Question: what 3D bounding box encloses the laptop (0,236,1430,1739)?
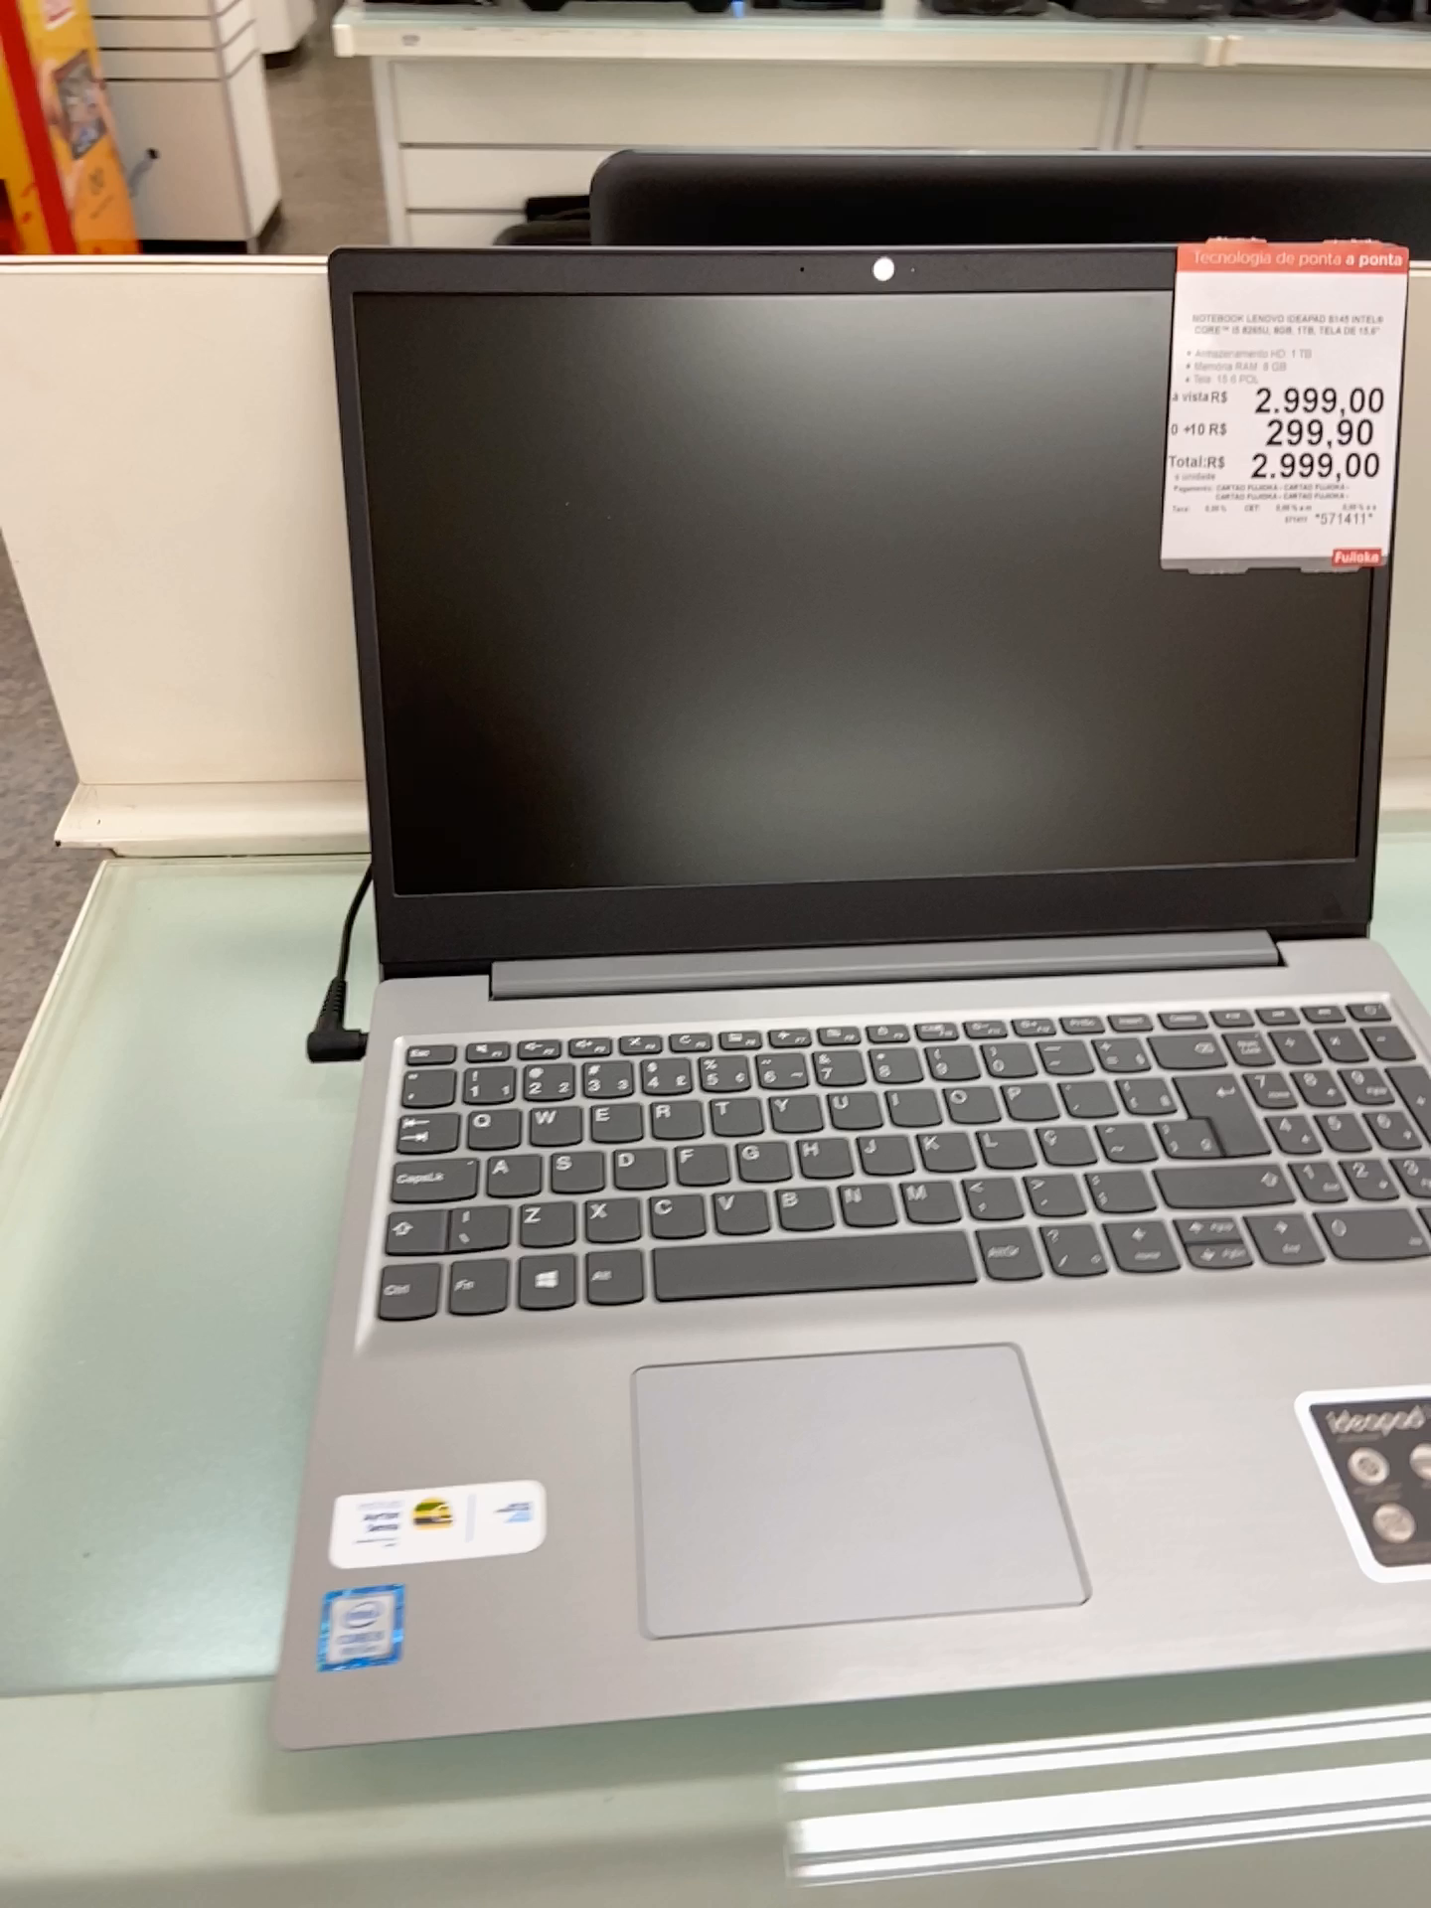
[{"bbox_3d":[0.067,-0.037,0.402,0.353,0.195,0.371,-2,41,-5],"label":"laptop"}]
